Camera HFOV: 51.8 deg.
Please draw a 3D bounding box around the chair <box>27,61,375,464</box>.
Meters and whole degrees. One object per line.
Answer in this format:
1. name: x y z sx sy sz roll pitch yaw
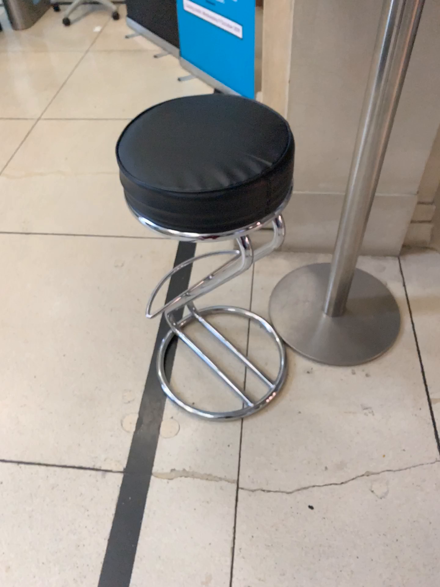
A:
1. chair: -0.024 -0.046 1.192 0.505 0.813 0.465 36 60 29
